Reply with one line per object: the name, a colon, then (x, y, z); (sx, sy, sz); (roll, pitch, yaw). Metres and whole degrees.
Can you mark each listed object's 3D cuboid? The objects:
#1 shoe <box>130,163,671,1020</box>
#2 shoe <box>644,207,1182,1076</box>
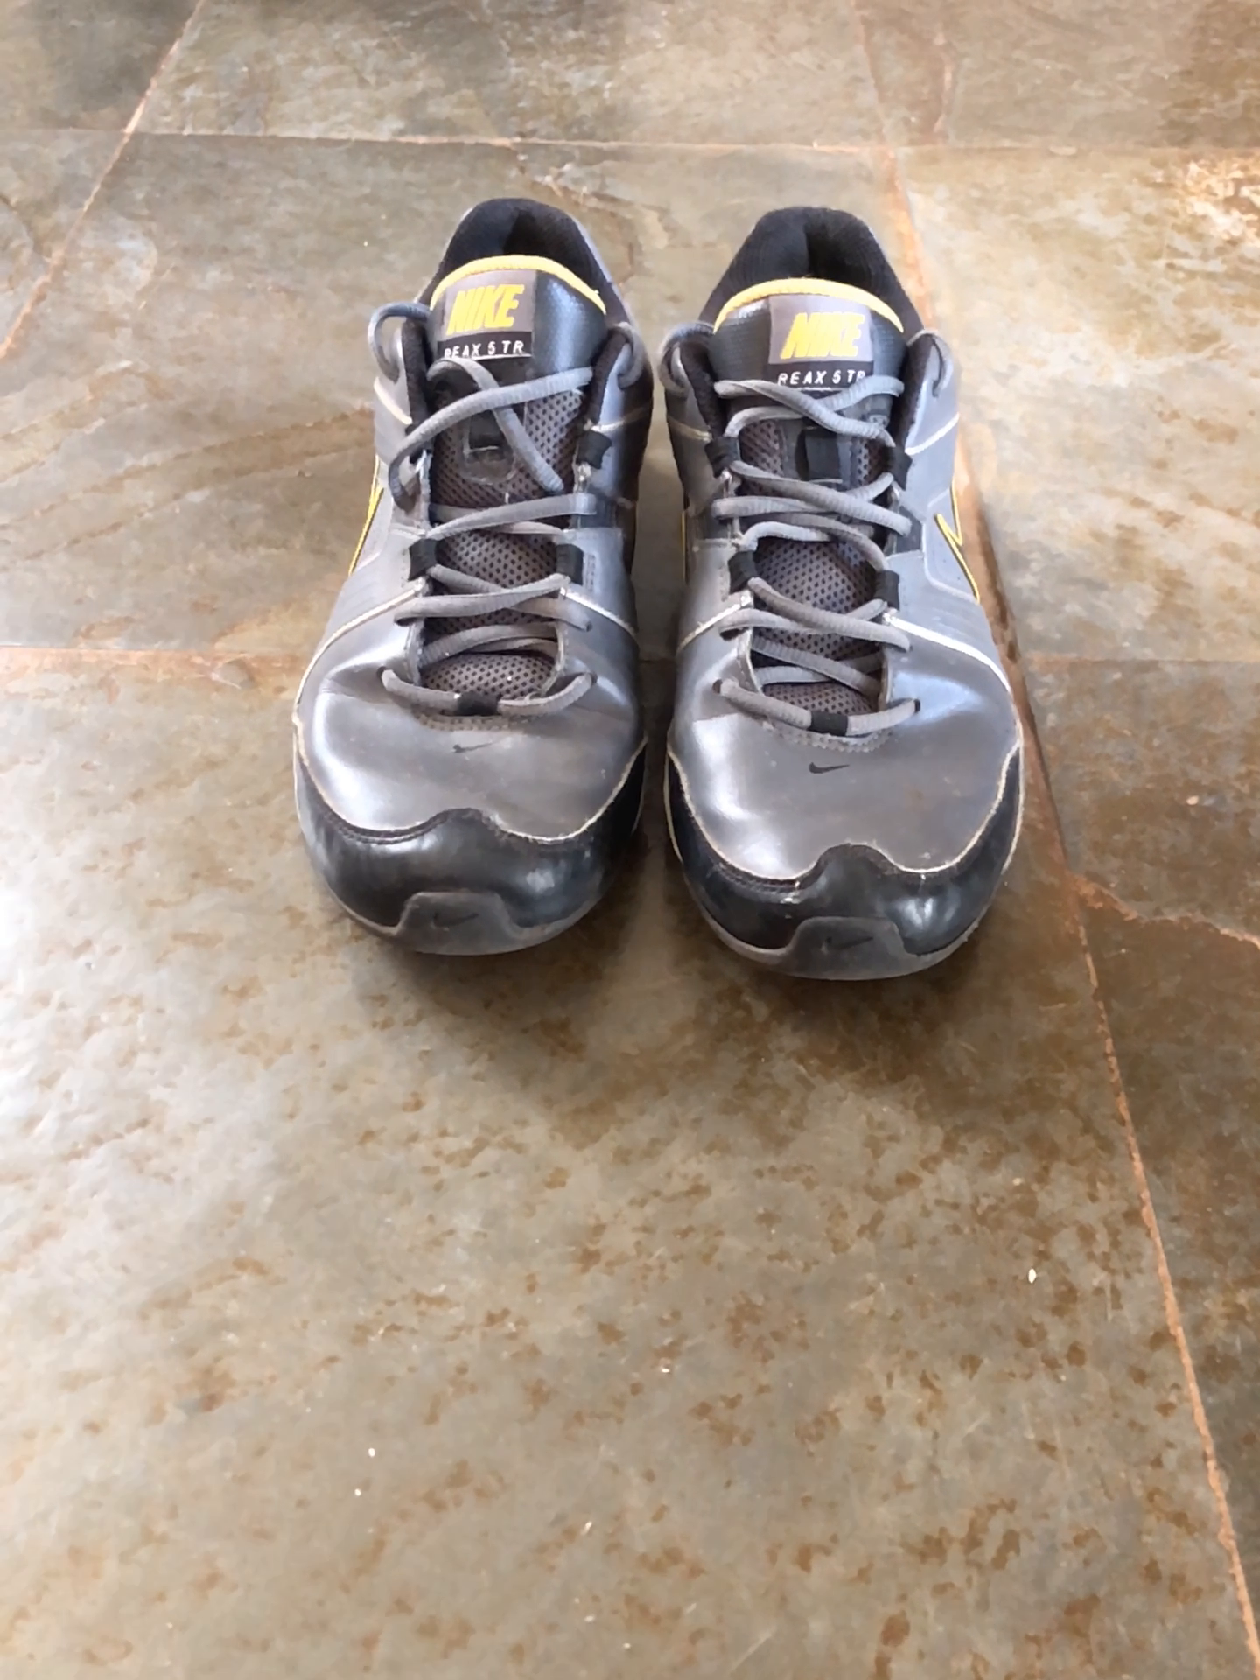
shoe: (-0.043, -0.081, 0.383); (0.100, 0.099, 0.242); (2, 49, 0)
shoe: (0.059, -0.068, 0.383); (0.100, 0.099, 0.242); (2, 49, 0)
